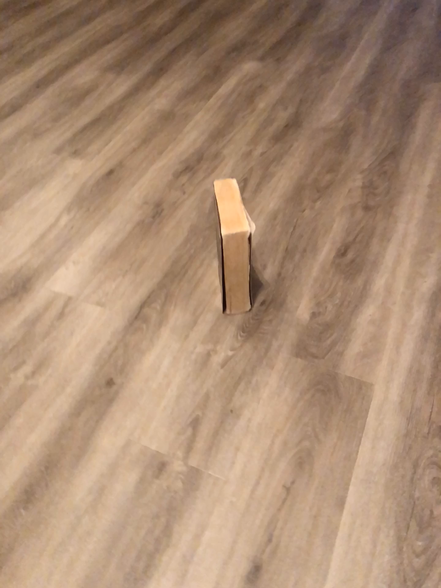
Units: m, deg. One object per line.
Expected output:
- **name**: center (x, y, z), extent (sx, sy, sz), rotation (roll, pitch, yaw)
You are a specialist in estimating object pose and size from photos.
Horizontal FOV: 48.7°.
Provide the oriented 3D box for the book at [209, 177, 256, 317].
- **book**: center (0.021, -0.088, 0.950), extent (0.060, 0.219, 0.156), rotation (-7, 48, -5)
